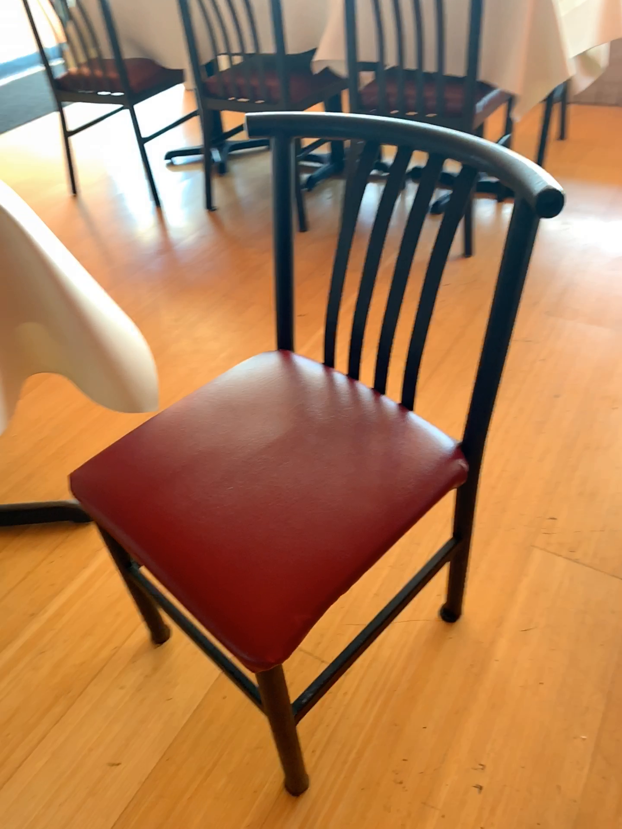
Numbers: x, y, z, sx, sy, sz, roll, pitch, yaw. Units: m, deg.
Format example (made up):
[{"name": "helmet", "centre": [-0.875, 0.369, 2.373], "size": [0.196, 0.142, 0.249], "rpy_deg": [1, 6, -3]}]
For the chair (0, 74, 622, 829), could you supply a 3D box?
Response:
[{"name": "chair", "centre": [-0.014, 0.038, 0.877], "size": [0.482, 0.726, 0.571], "rpy_deg": [31, 54, 32]}]
